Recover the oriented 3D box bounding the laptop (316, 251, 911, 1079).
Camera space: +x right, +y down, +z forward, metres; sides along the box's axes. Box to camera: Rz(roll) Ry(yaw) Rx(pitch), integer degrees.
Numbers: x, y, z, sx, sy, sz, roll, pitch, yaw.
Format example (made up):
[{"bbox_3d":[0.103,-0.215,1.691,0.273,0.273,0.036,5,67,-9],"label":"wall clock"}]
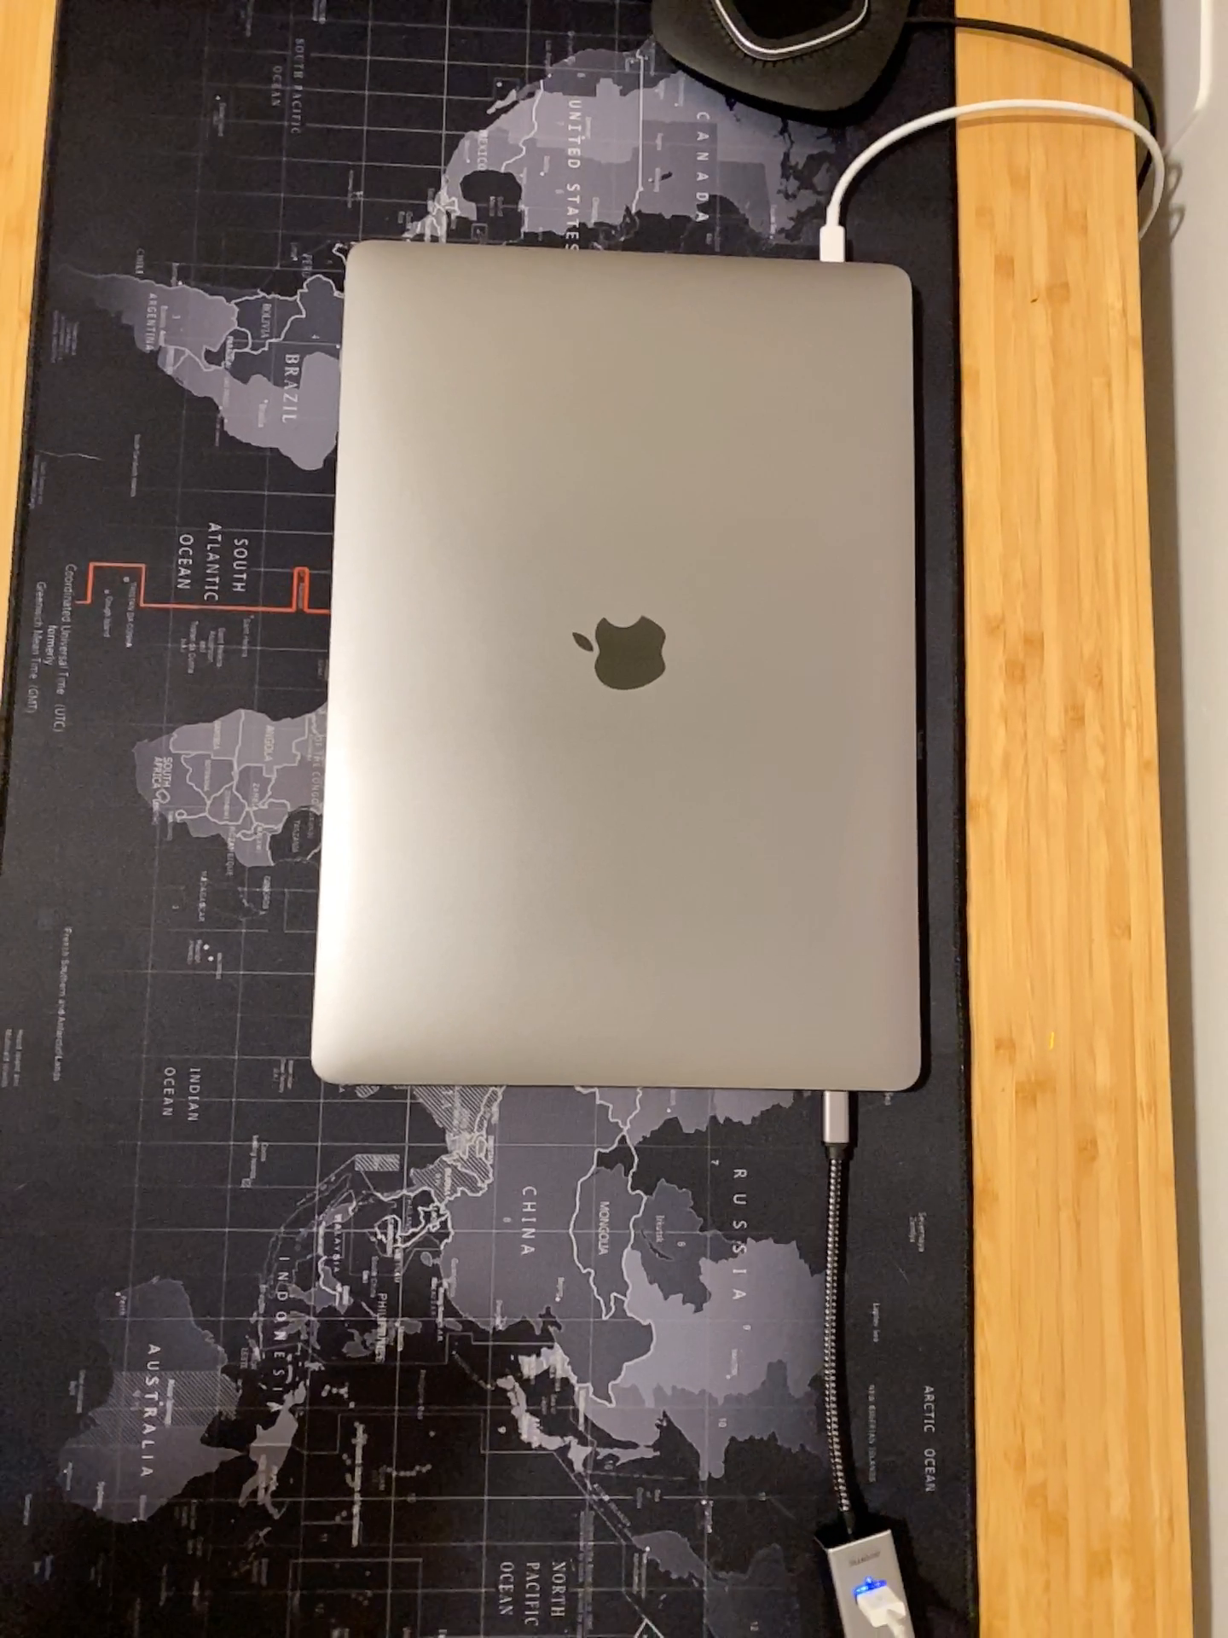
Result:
[{"bbox_3d":[0.006,-0.068,0.501,0.226,0.002,0.336,2,82,-2],"label":"laptop"}]
